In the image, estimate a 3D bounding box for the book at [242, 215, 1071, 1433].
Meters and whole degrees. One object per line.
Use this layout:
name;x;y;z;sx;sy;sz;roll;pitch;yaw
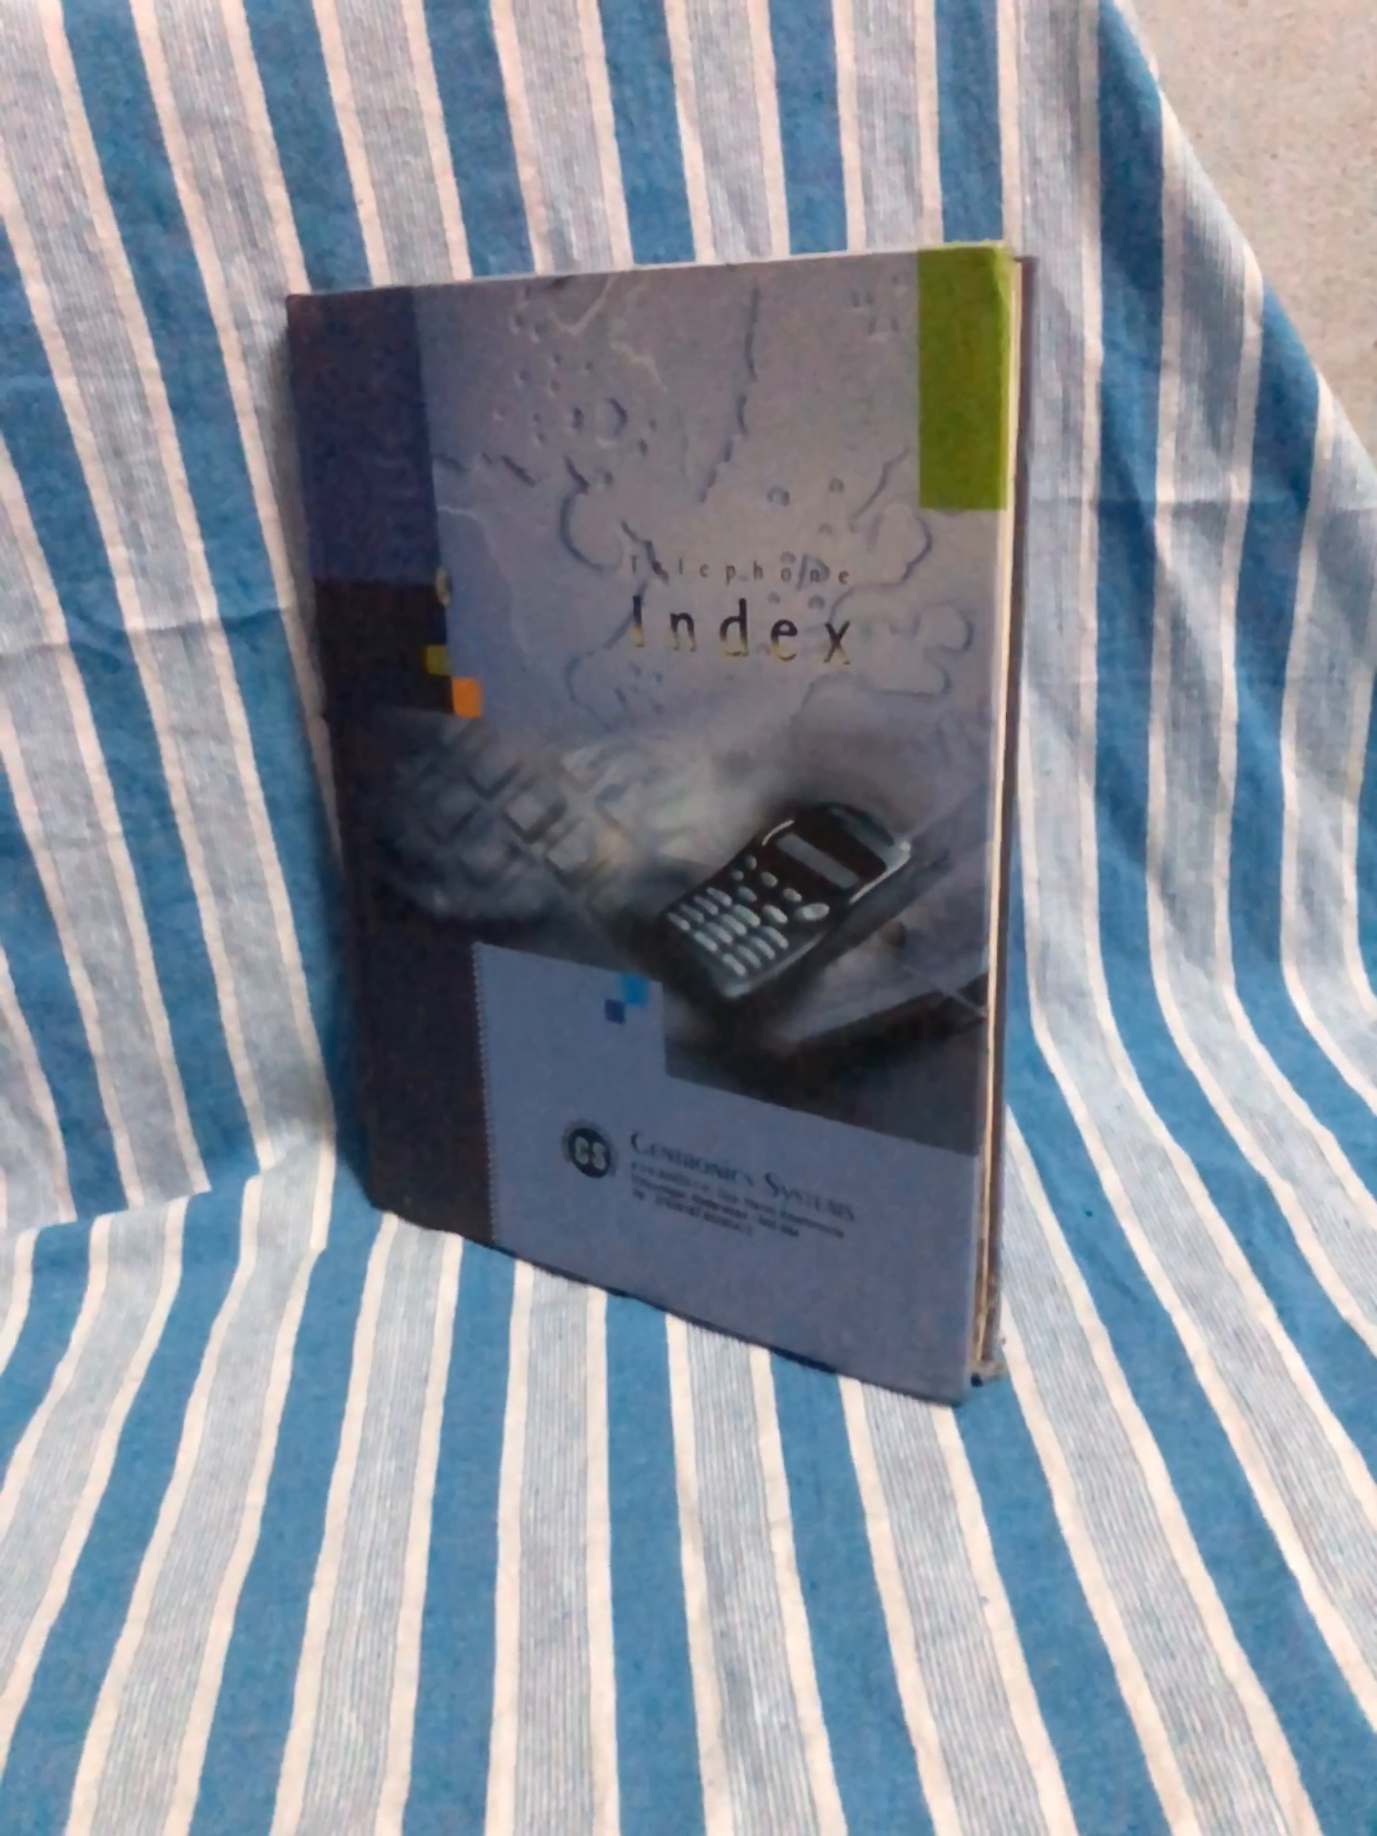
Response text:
book;-0.014;-0.021;0.361;0.193;0.252;0.023;11;23;31
